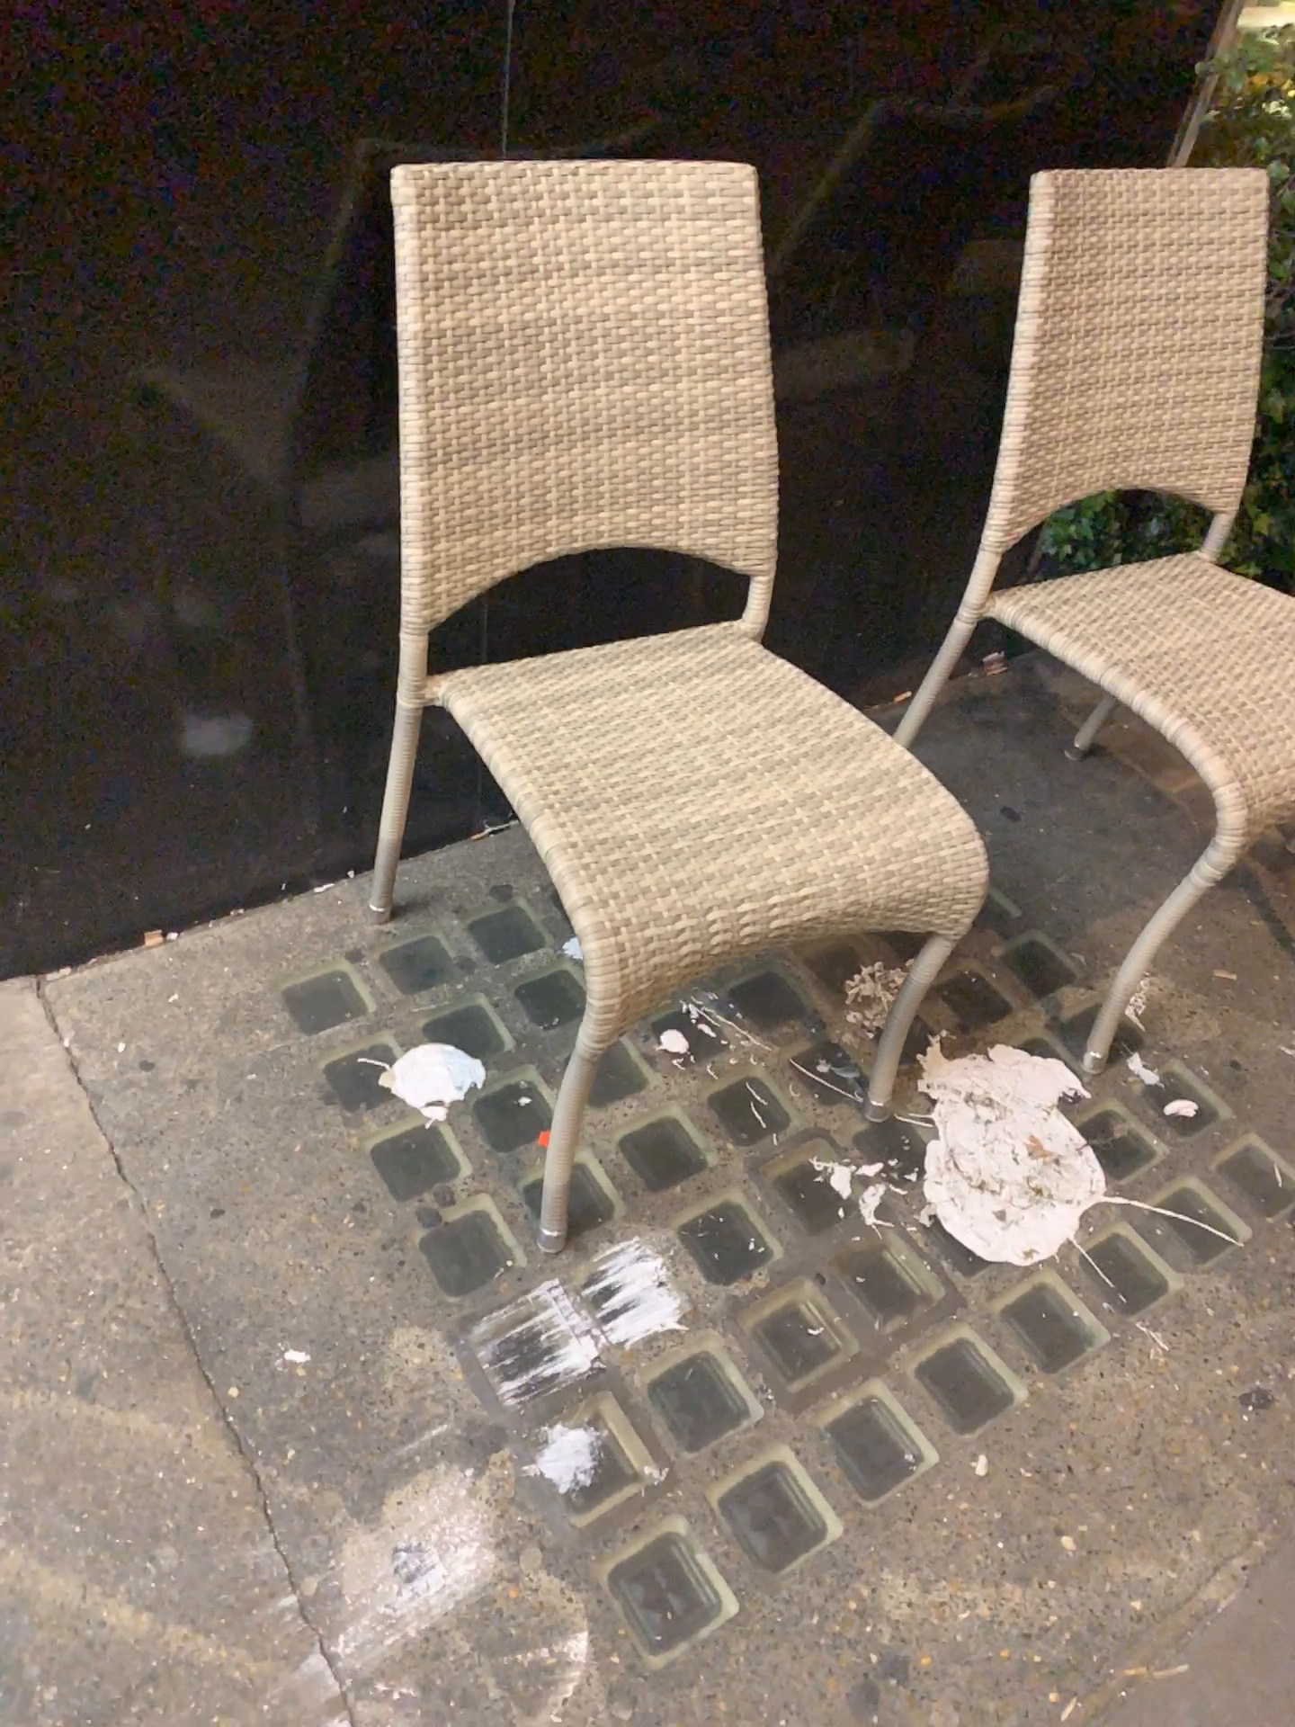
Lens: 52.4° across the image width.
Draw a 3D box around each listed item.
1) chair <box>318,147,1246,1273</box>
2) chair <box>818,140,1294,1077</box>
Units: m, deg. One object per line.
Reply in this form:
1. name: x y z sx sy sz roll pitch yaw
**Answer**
1. chair: 0.024 -0.154 1.305 0.481 0.832 0.615 -15 48 -24
2. chair: 0.678 -0.341 1.640 0.581 0.901 0.604 -14 40 -23
